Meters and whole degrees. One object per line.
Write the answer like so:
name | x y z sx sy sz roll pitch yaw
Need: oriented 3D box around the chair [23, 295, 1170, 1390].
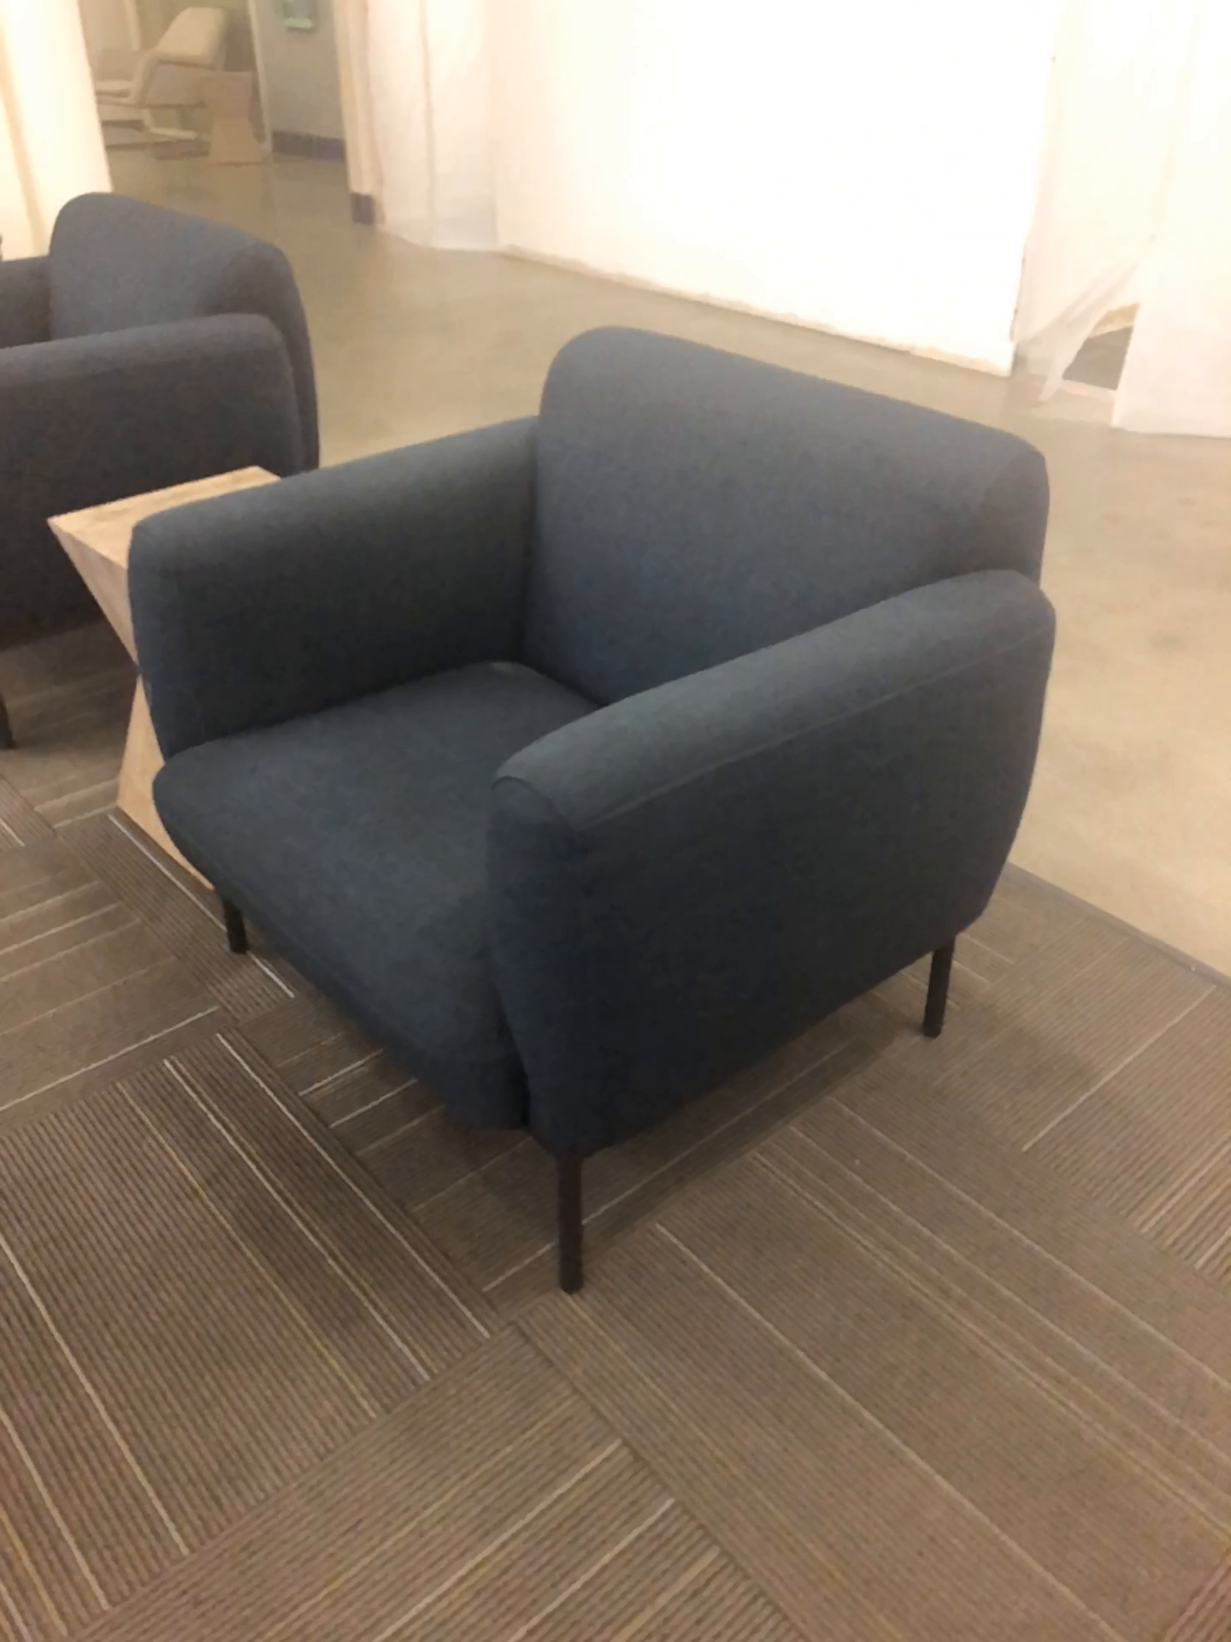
chair | -0.043 -0.104 1.666 0.845 0.783 0.923 -25 40 -34
